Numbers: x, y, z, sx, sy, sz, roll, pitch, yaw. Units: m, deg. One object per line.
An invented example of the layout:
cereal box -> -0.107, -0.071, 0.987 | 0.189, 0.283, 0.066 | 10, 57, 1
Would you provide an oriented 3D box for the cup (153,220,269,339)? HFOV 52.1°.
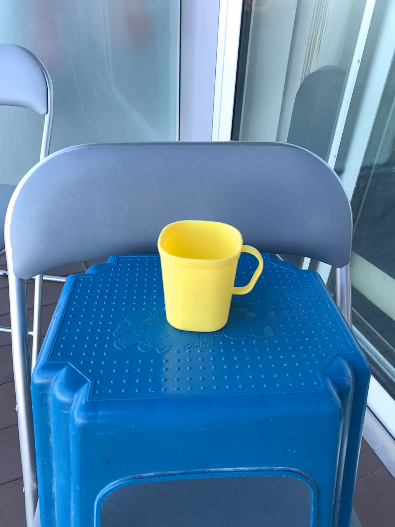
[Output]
cup -> 0.012, 0.012, 0.359 | 0.089, 0.077, 0.068 | 2, 32, 3
